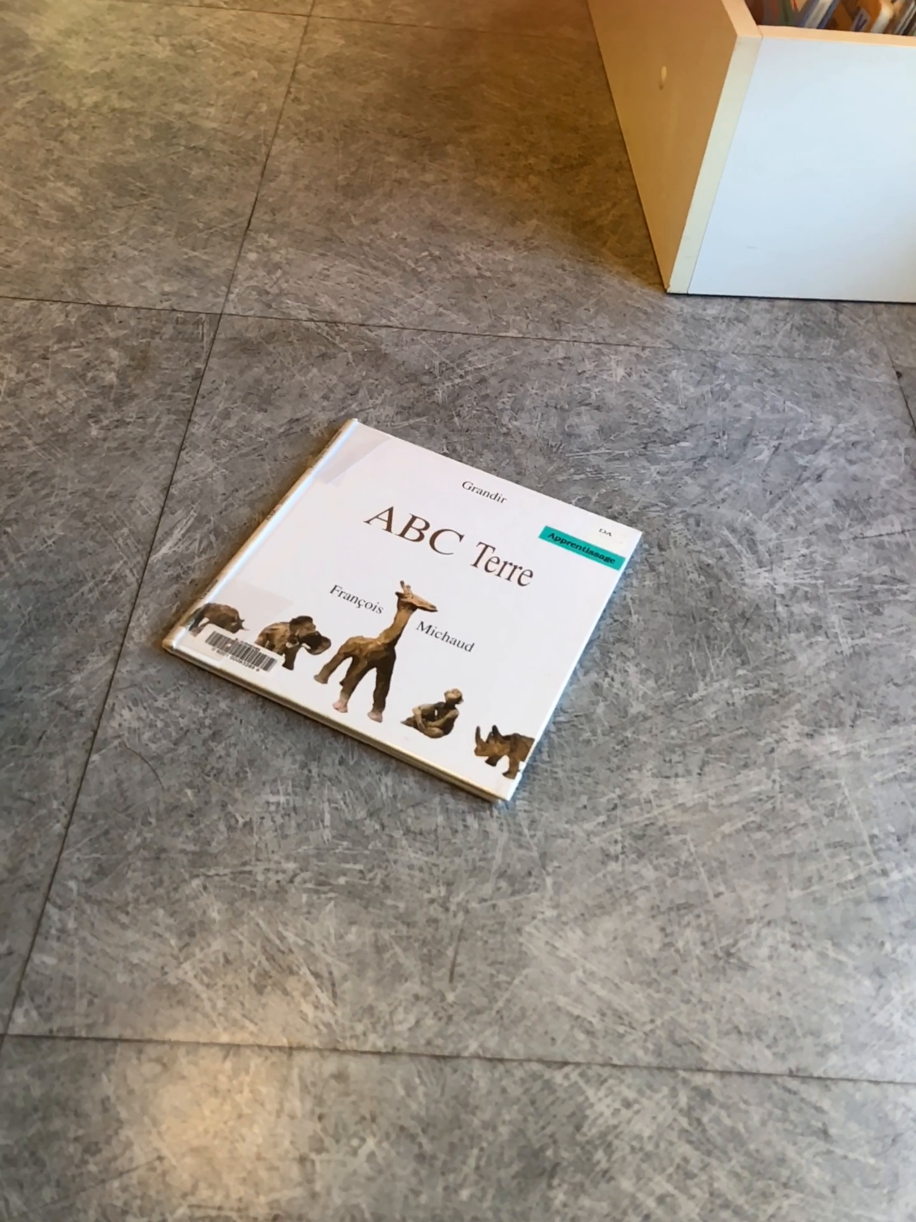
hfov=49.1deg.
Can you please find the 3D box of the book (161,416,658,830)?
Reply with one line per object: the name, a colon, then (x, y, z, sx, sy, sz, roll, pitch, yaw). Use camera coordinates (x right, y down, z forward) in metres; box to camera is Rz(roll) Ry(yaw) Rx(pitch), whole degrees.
book: (-0.018, -0.008, 0.546, 0.200, 0.020, 0.195, 23, 54, 12)
